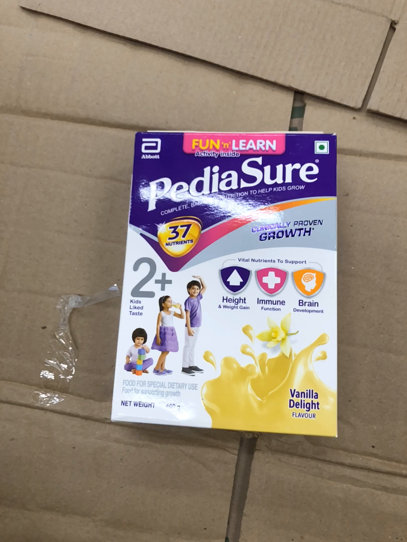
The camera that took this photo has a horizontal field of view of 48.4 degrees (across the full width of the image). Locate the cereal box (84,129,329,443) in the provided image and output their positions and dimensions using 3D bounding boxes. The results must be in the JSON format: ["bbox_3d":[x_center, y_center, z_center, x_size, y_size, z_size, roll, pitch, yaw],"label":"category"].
[{"bbox_3d":[0.007,0.006,0.304,0.140,0.050,0.190,3,79,5],"label":"cereal box"}]
